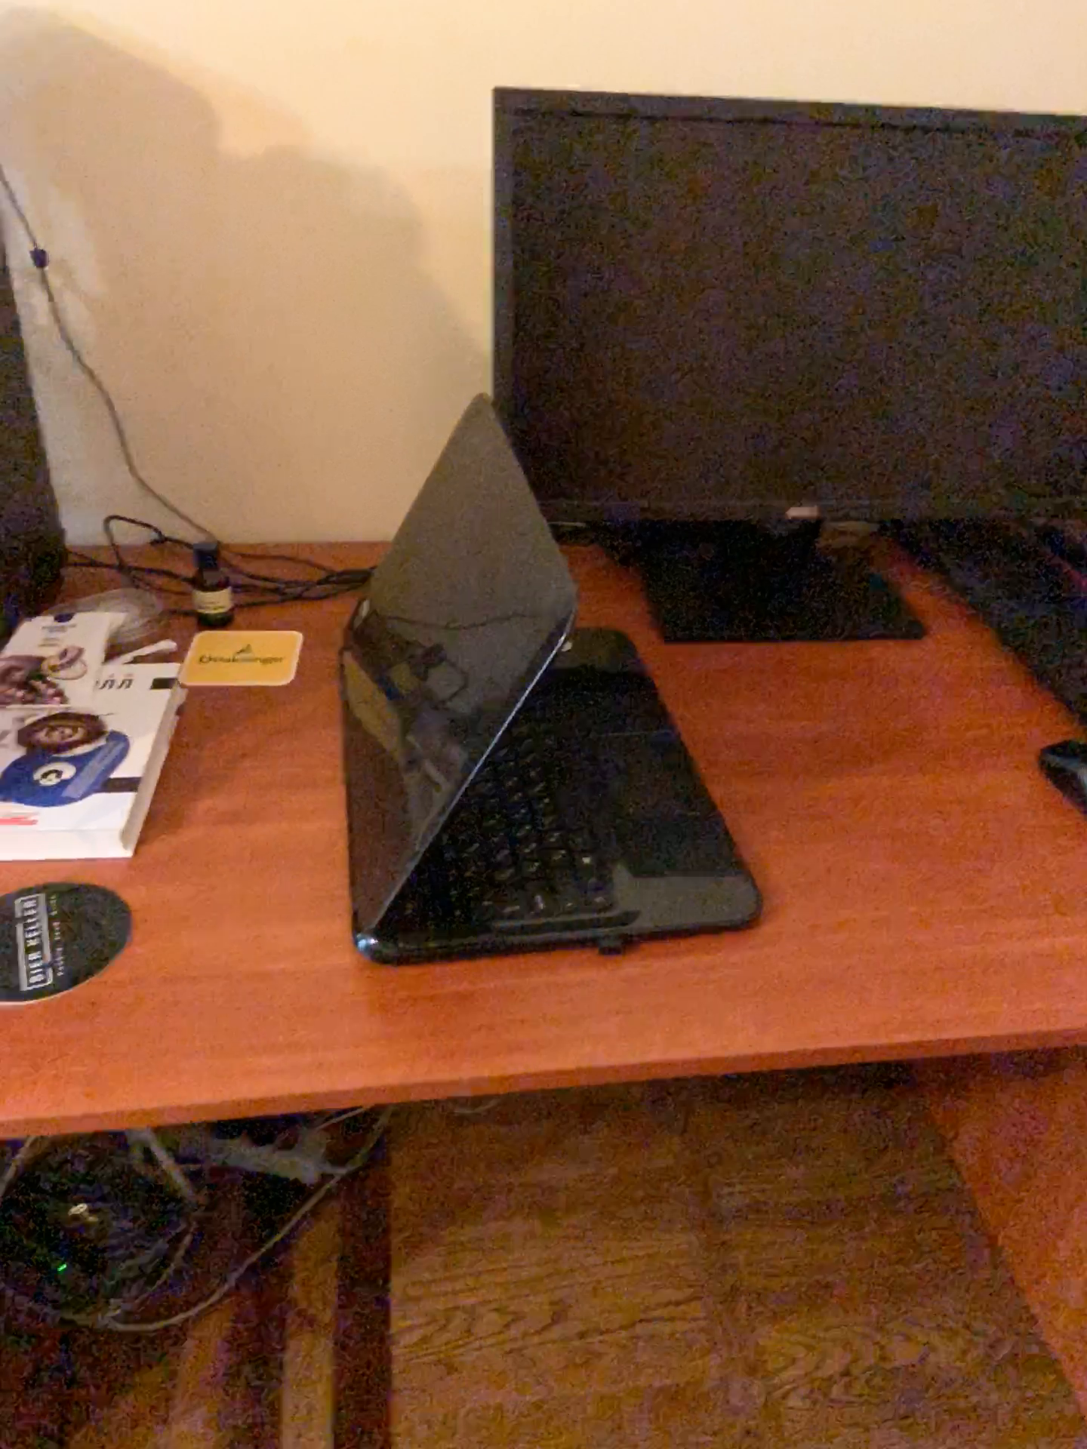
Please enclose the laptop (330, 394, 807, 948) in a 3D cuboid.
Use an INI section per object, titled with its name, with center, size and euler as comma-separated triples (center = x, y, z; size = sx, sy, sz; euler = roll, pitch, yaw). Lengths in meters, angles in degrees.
[laptop]
center = -0.017, -0.062, 0.714
size = 0.222, 0.198, 0.350
euler = -3, 34, -10
